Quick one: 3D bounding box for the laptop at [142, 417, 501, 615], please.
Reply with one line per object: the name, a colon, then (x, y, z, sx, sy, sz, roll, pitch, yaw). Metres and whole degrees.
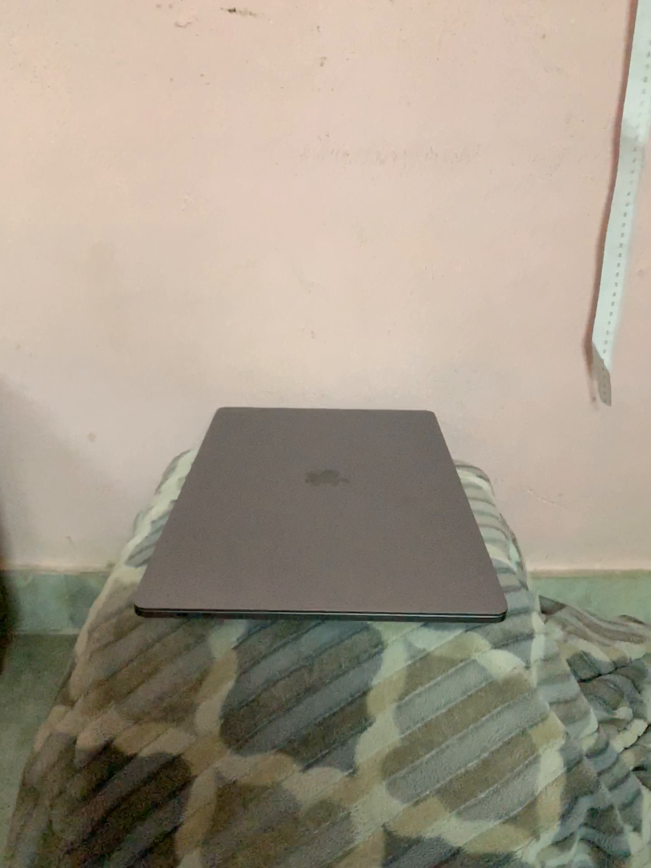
laptop: (0.001, 0.047, 0.575, 0.228, 0.002, 0.327, 1, 23, 2)
